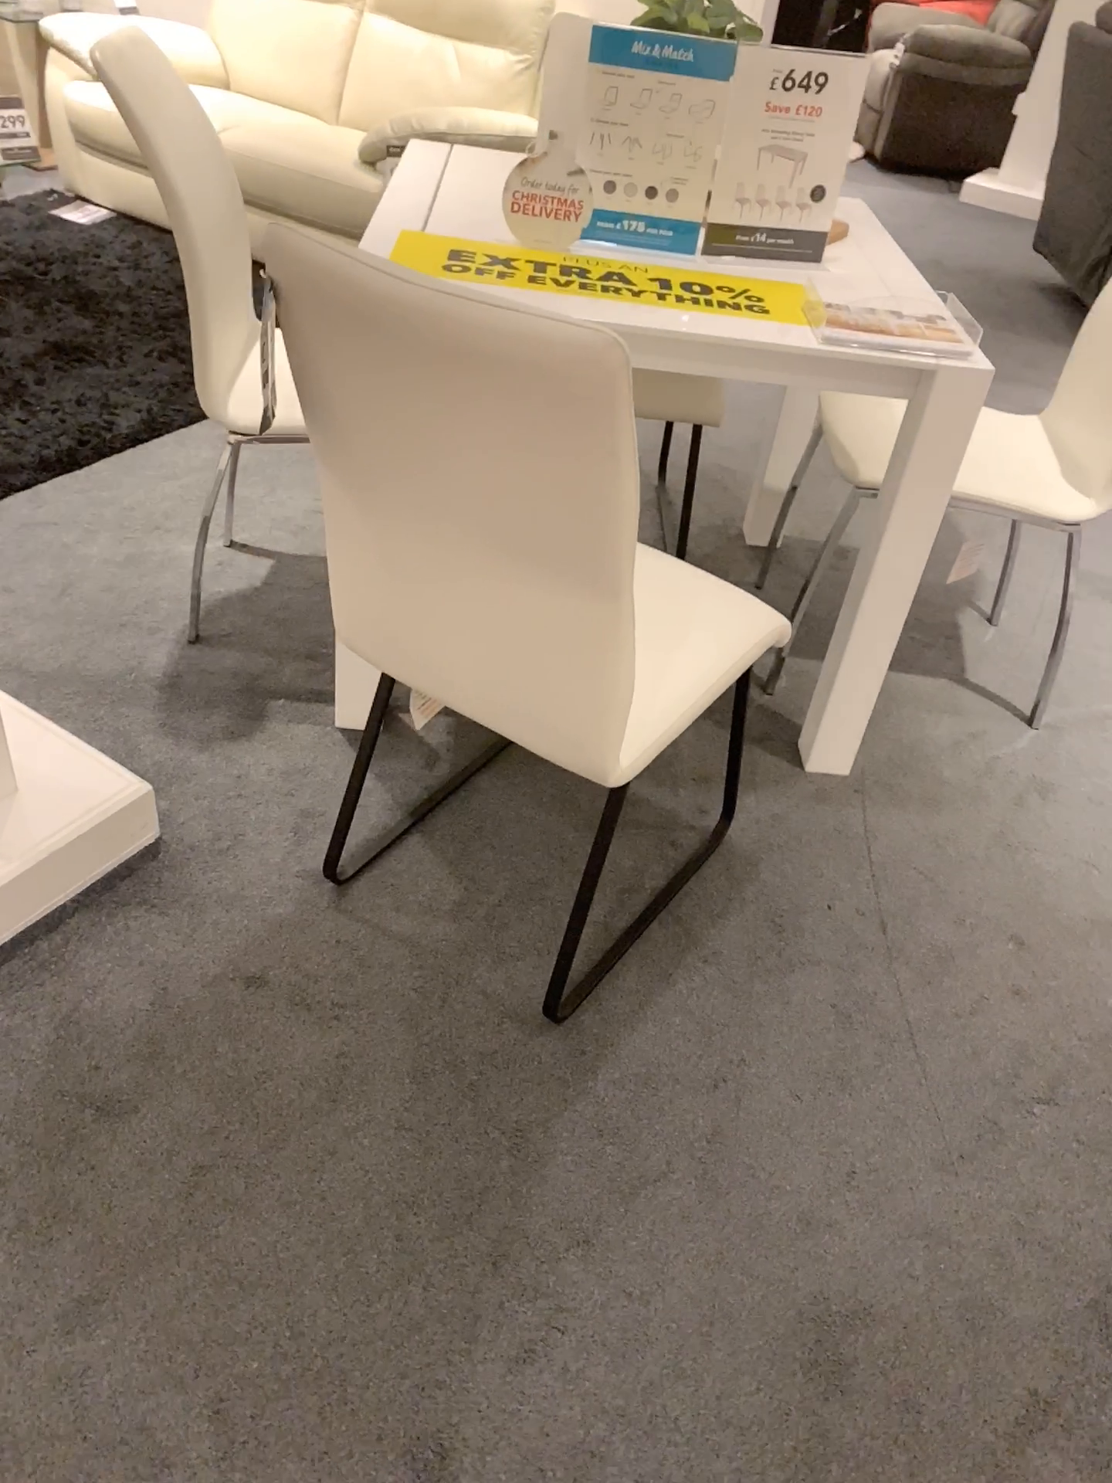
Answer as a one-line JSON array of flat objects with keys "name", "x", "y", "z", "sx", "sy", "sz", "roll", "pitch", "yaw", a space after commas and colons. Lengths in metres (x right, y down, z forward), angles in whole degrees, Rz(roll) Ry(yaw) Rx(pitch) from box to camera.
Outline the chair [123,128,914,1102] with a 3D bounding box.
[{"name": "chair", "x": -0.047, "y": -0.176, "z": 1.410, "sx": 0.541, "sy": 0.891, "sz": 0.635, "roll": 26, "pitch": 41, "yaw": 20}]
